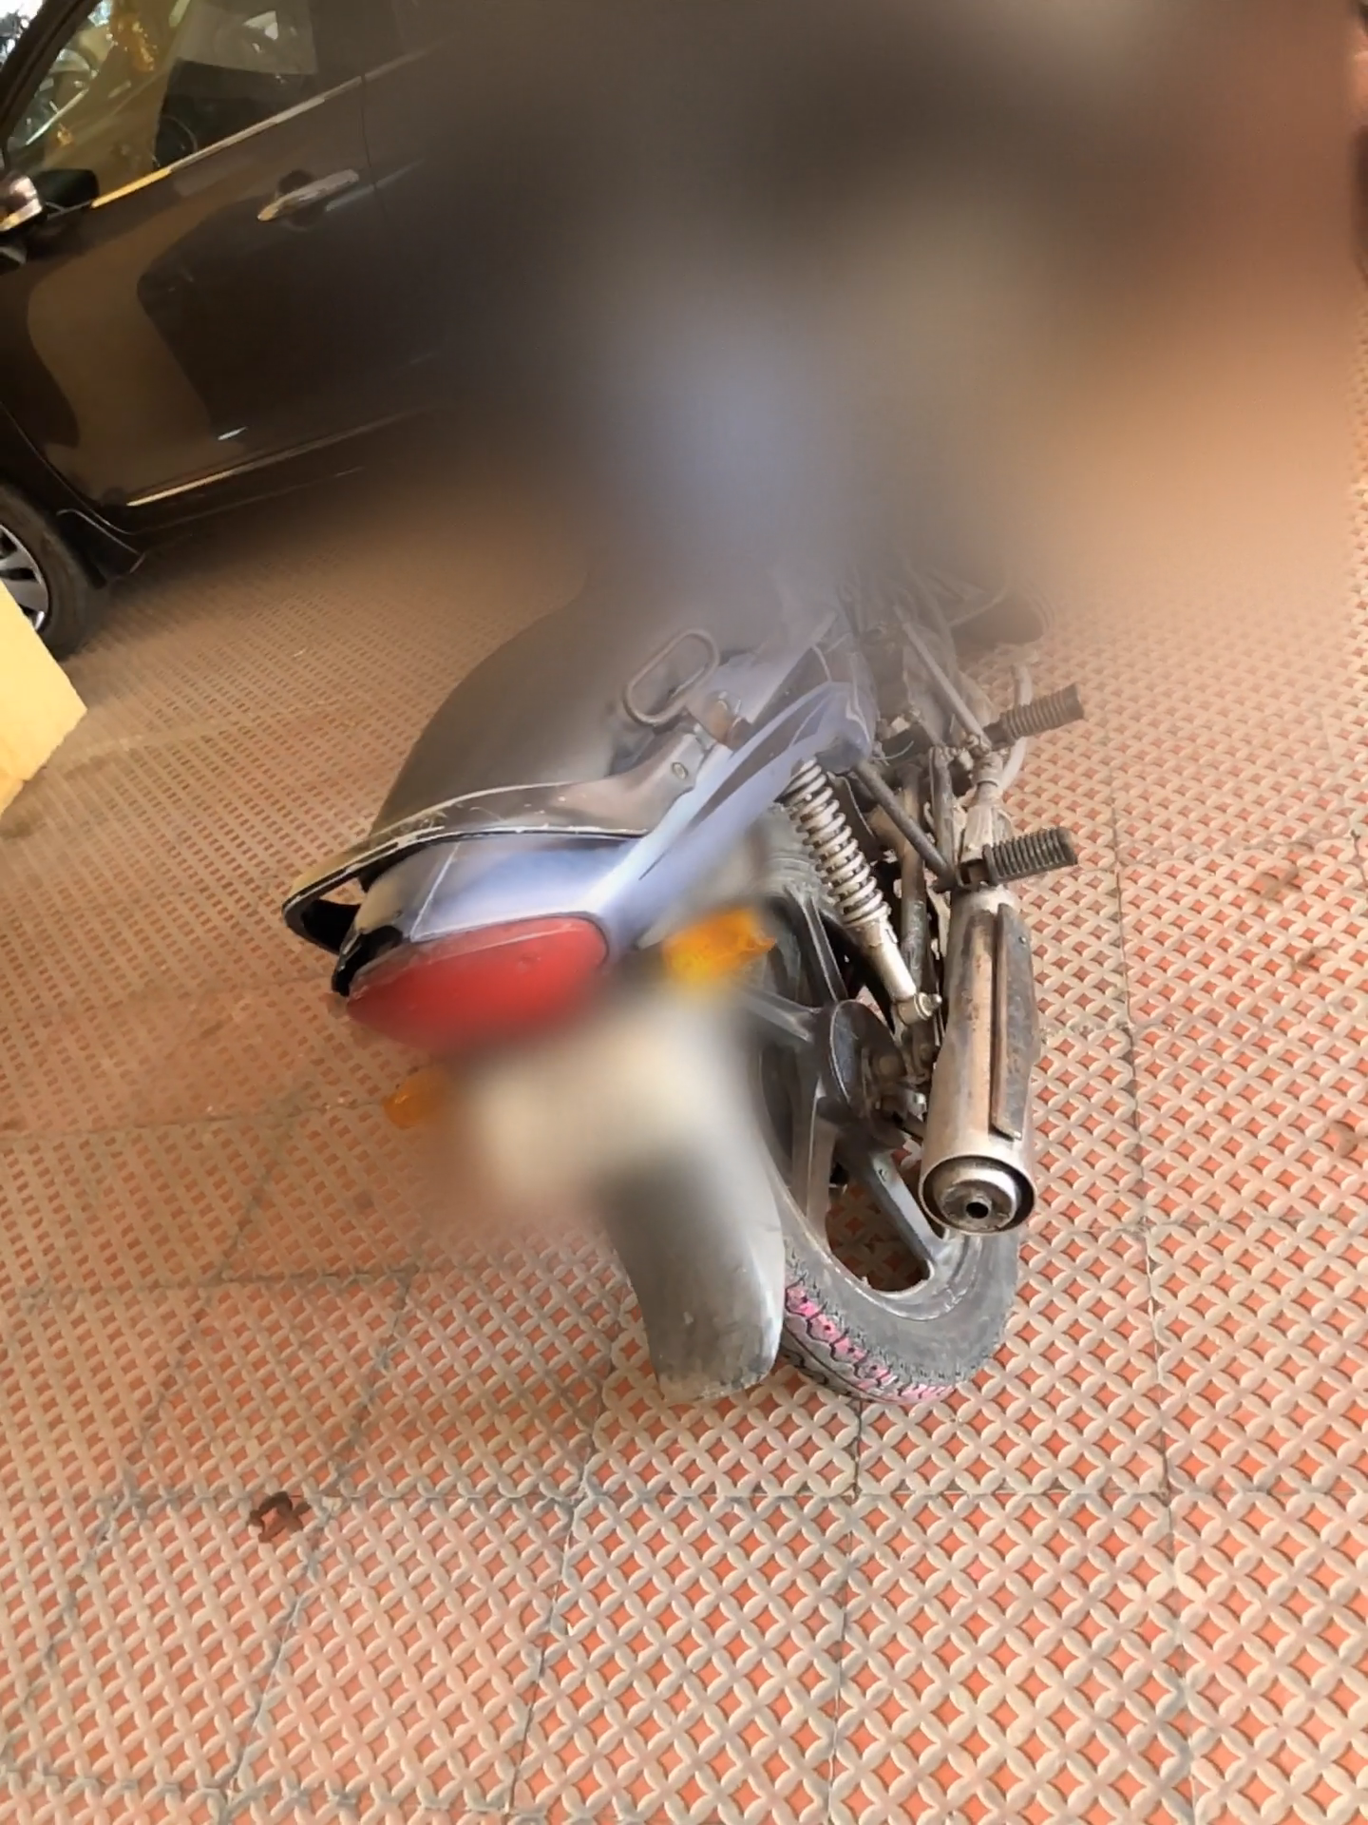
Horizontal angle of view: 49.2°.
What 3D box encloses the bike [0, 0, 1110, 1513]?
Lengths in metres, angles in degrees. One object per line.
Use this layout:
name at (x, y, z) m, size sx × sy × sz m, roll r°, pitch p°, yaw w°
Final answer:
bike at (-0.145, -0.391, 1.802) m, size 0.733 × 1.073 × 1.698 m, roll -14°, pitch 40°, yaw 12°
